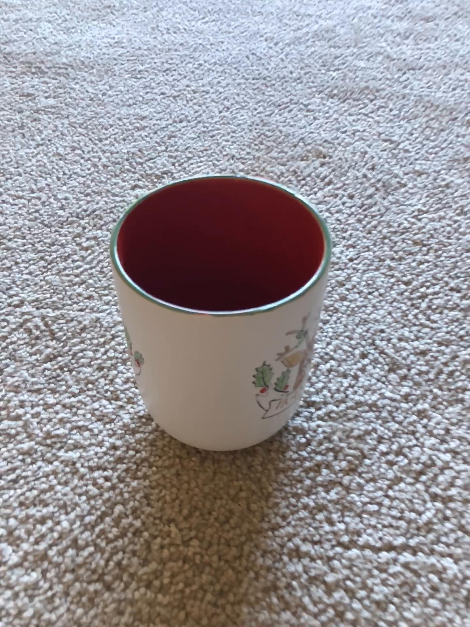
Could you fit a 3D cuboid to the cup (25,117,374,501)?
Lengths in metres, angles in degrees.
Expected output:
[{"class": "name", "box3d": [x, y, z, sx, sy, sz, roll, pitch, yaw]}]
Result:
[{"class": "cup", "box3d": [-0.003, -0.010, 0.247, 0.100, 0.090, 0.141, 13, 50, 12]}]
